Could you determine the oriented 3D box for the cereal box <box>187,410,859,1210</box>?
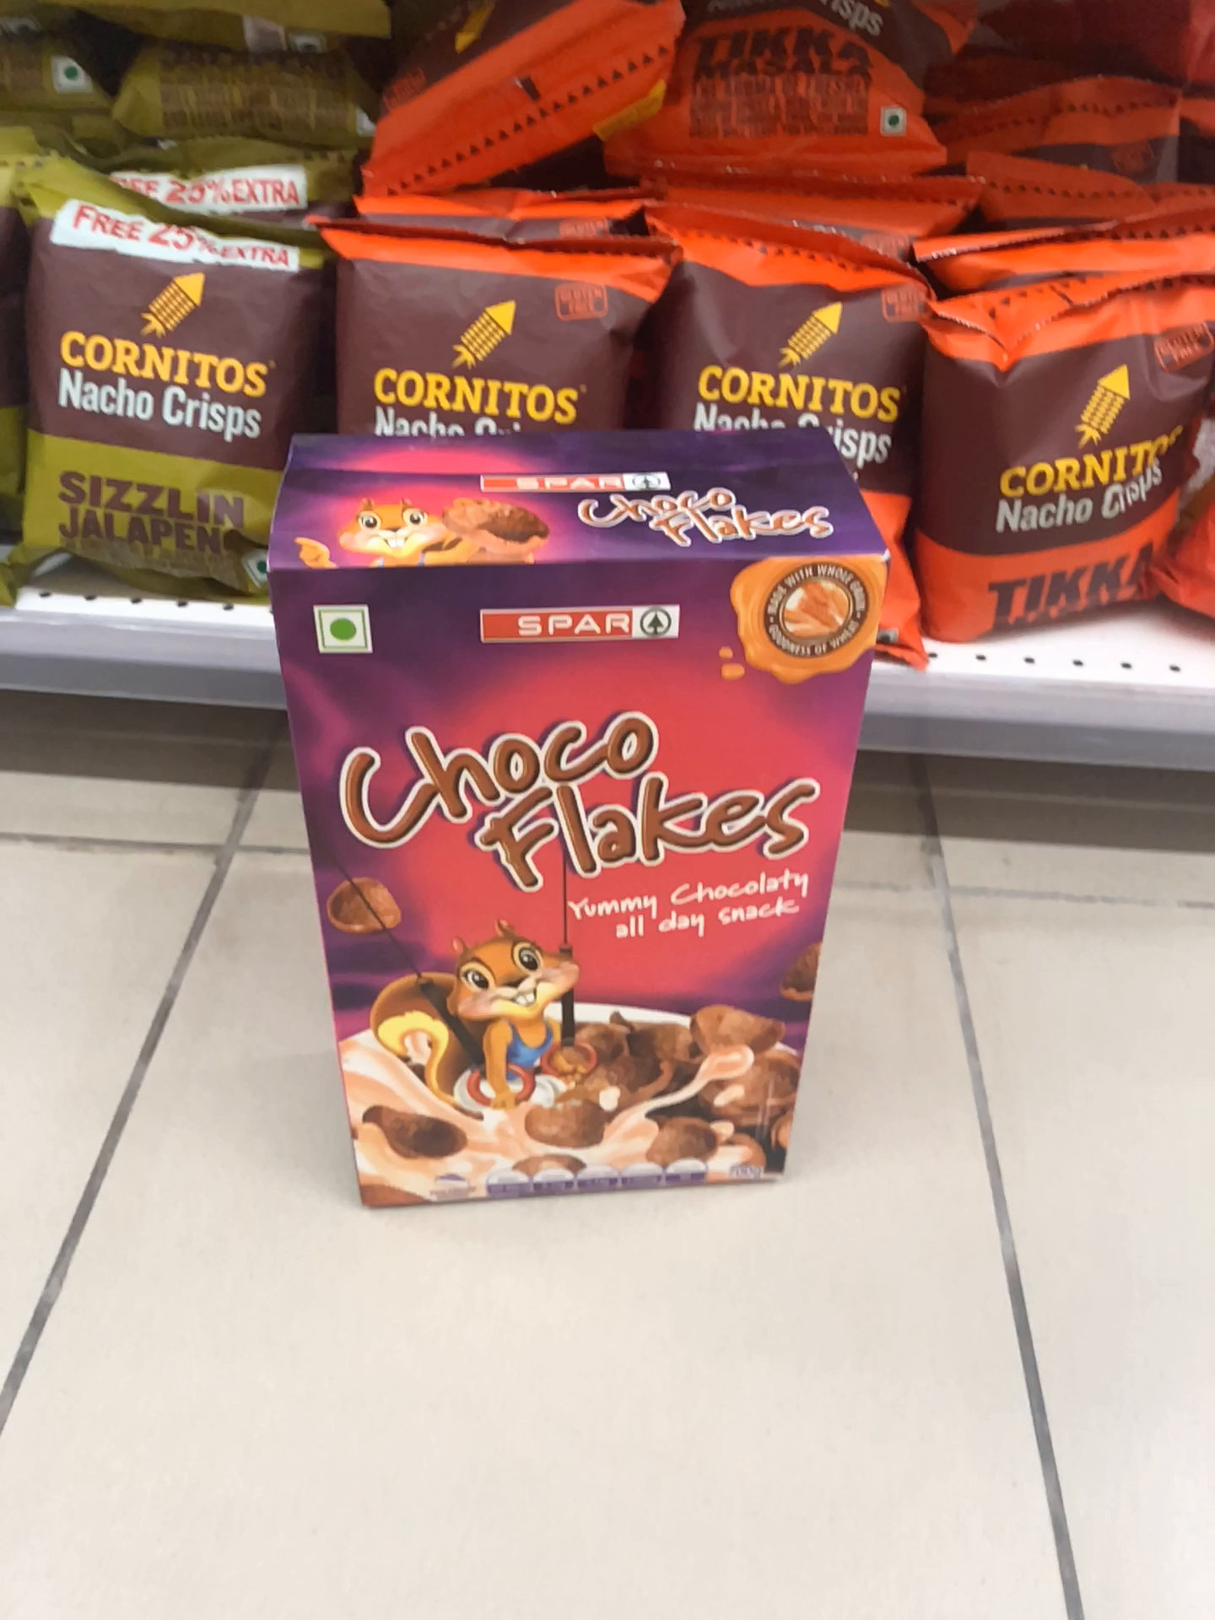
[{"bbox_3d":[-0.032,0.020,0.547,0.200,0.339,0.090,-3,41,-6],"label":"cereal box"}]
